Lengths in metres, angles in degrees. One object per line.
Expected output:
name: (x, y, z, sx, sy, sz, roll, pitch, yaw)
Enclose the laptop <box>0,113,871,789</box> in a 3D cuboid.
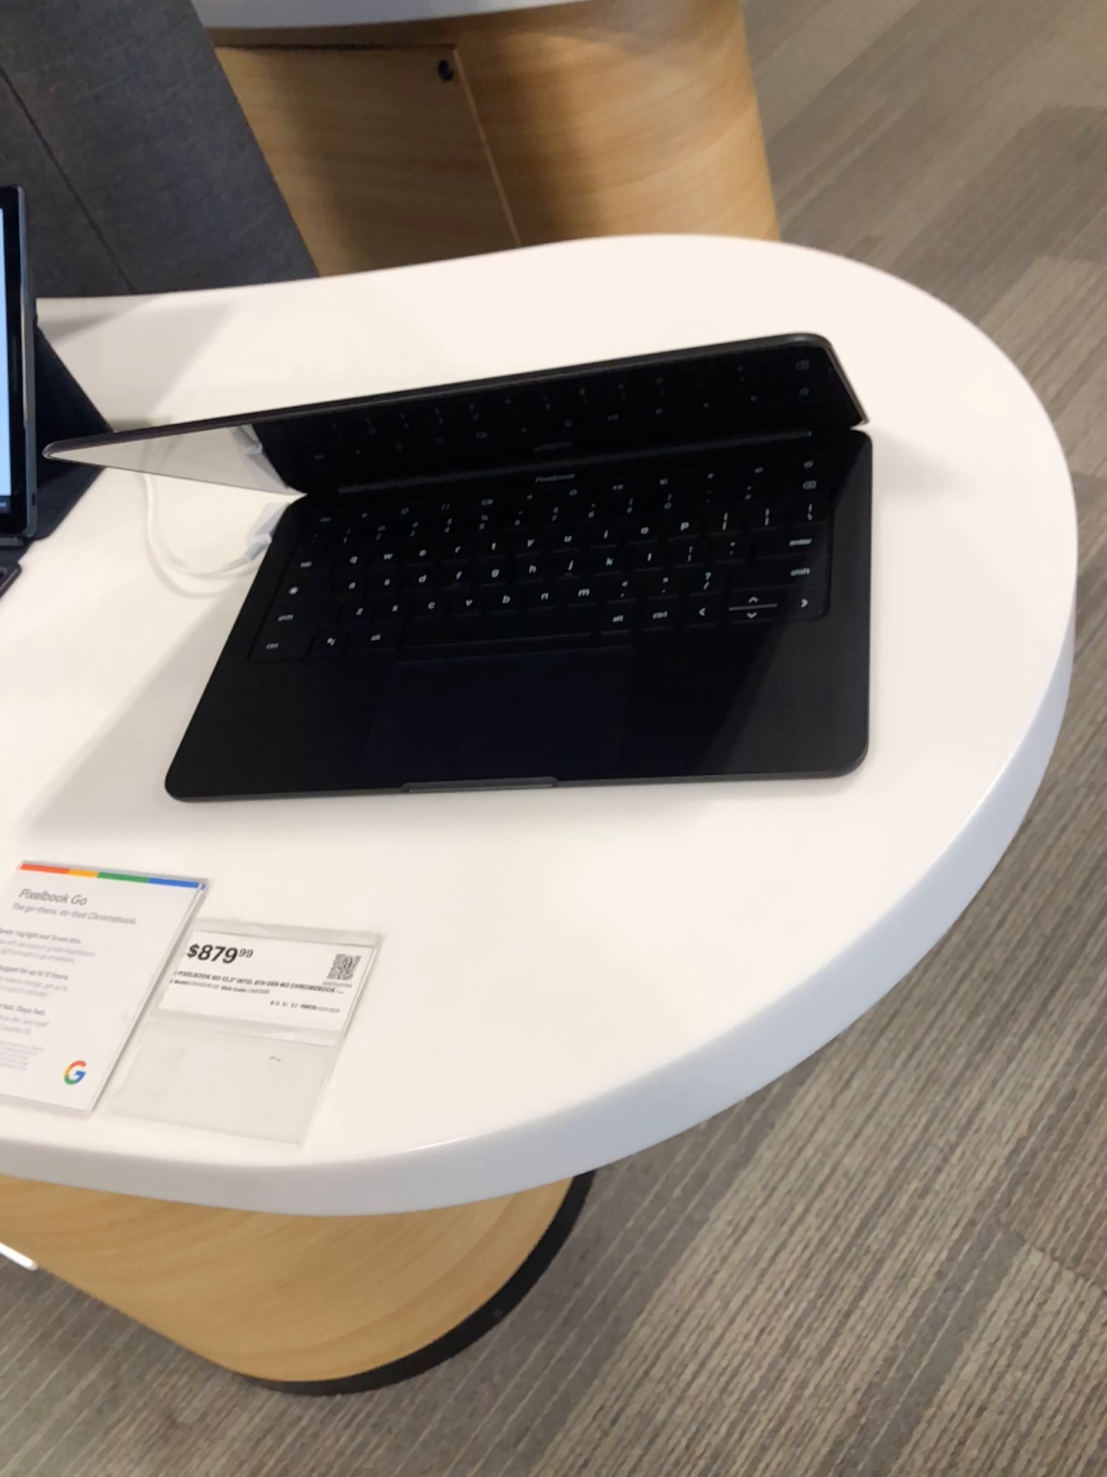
laptop: (-0.026, -0.107, 0.488, 0.278, 0.146, 0.192, -3, 49, 16)
